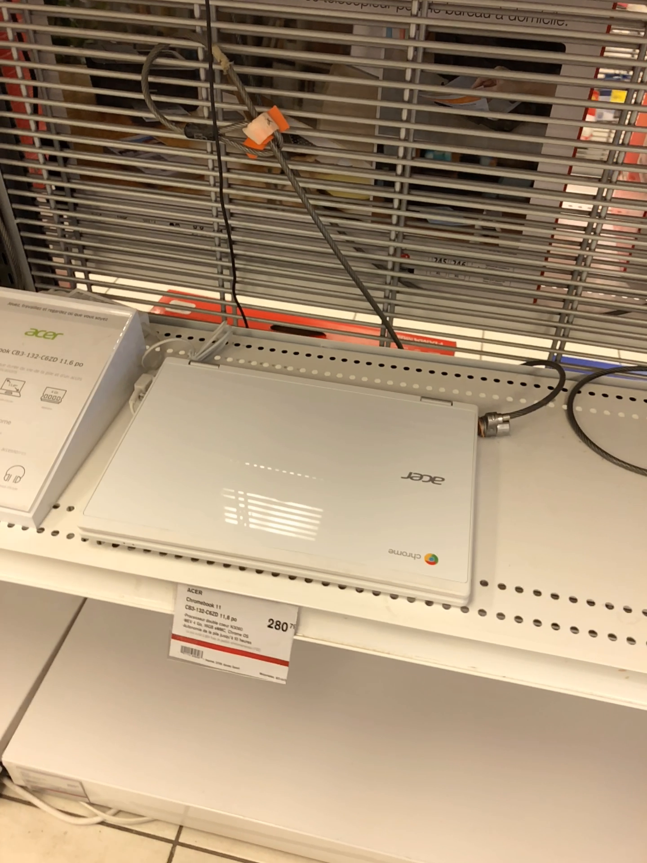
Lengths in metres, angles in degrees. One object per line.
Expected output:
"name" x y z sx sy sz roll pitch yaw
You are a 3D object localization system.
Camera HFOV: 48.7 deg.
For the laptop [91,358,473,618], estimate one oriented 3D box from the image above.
"laptop" -0.025 0.035 0.598 0.286 0.024 0.184 9 52 8
